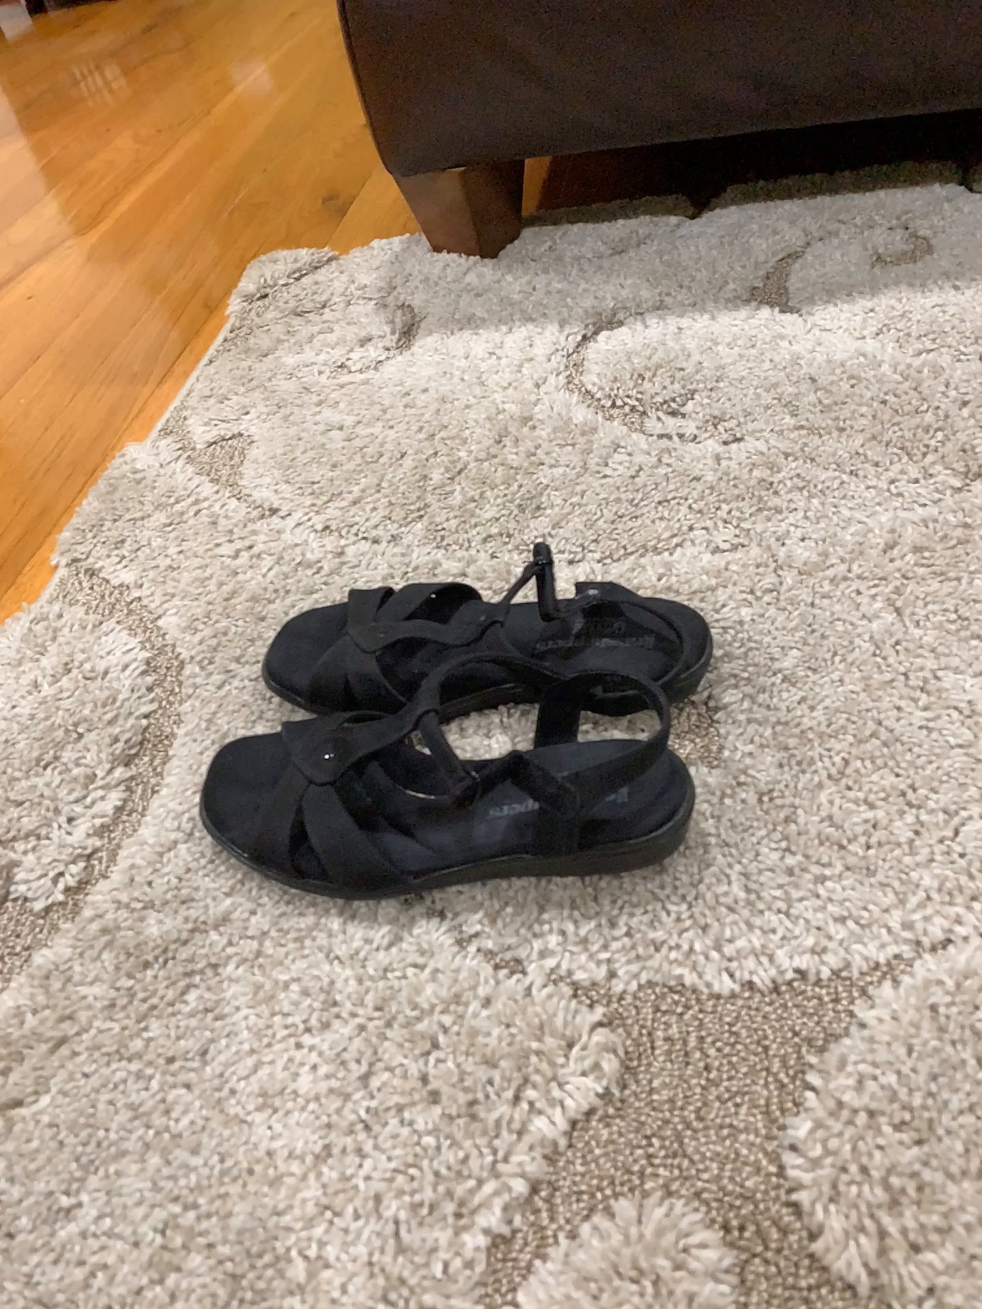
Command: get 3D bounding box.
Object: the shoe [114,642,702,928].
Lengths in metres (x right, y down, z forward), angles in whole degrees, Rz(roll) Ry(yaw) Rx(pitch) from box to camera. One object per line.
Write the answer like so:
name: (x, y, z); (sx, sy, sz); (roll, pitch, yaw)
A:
shoe: (-0.031, 0.053, 0.453); (0.241, 0.059, 0.101); (1, 45, 15)

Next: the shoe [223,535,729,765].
shoe: (-0.002, -0.006, 0.521); (0.241, 0.059, 0.101); (1, 45, 15)
